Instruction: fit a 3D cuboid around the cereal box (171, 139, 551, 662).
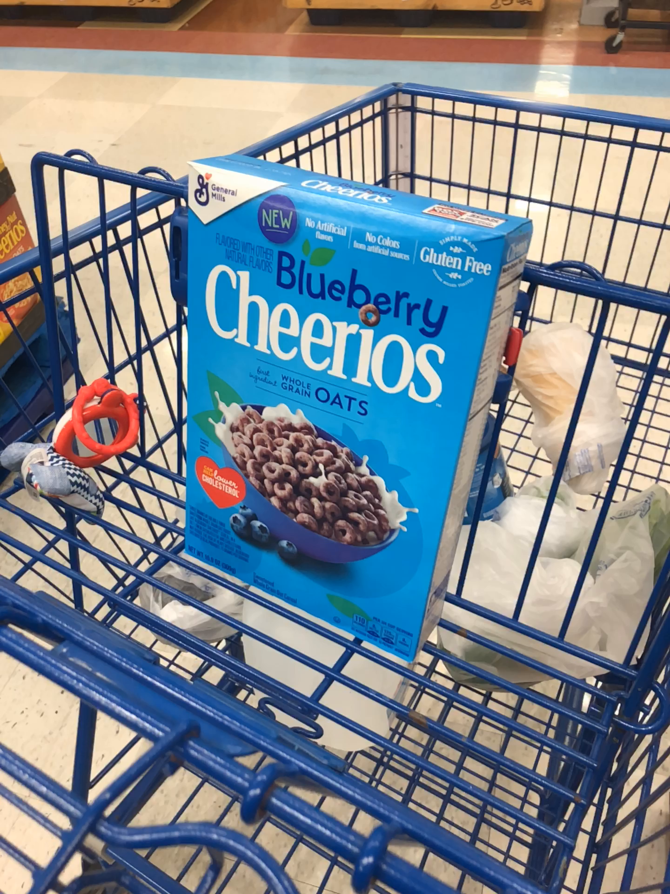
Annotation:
[{"bbox_3d":[-0.003,-0.030,0.473,0.200,0.280,0.070,20,31,23],"label":"cereal box"}]
